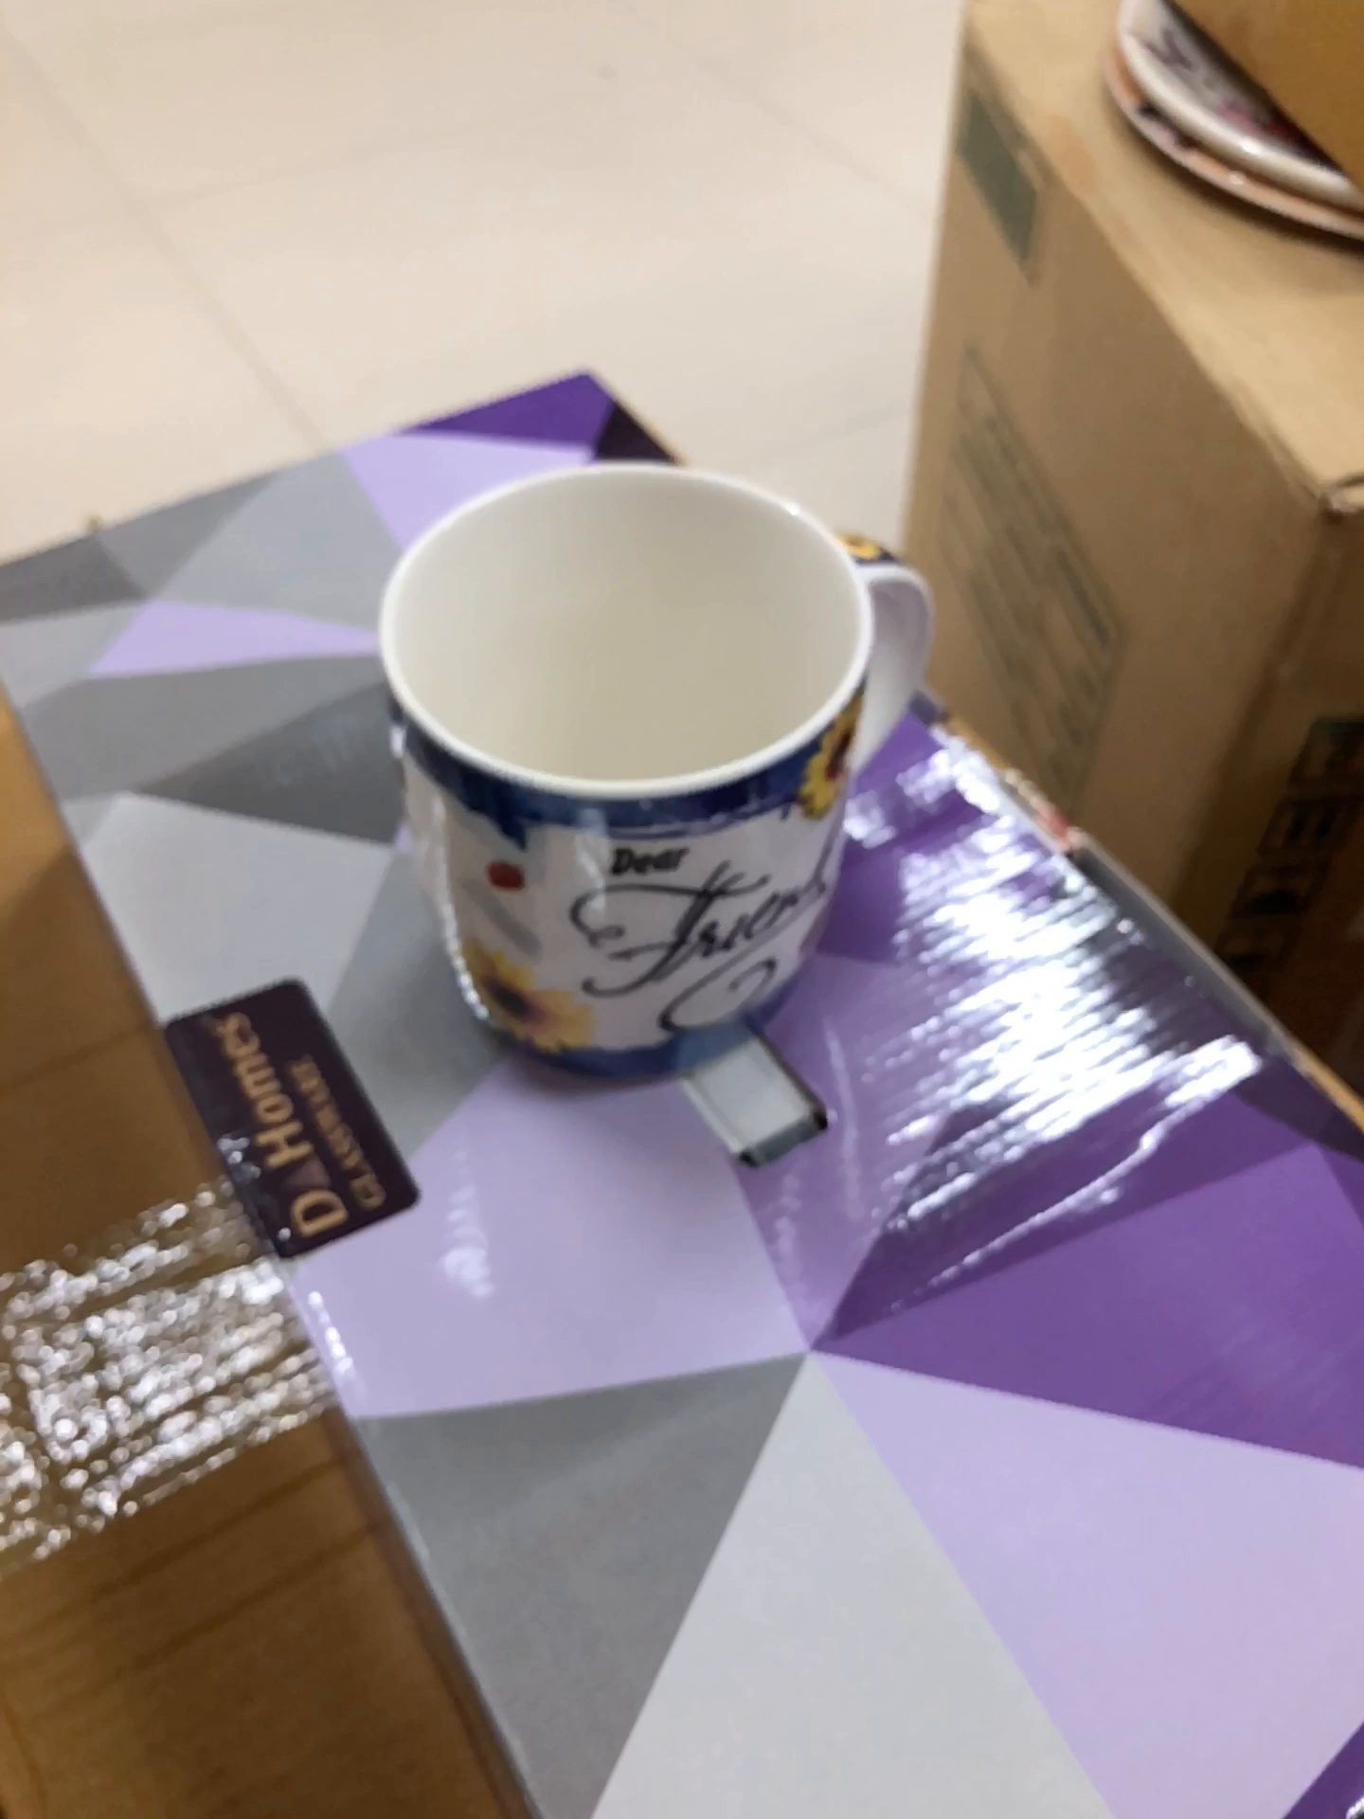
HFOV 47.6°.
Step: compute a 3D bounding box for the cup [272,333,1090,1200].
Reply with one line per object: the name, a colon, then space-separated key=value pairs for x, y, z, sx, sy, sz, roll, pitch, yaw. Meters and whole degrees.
cup: x=0.003 y=-0.030 z=0.296 sx=0.080 sy=0.089 sz=0.121 roll=33 pitch=57 yaw=23
